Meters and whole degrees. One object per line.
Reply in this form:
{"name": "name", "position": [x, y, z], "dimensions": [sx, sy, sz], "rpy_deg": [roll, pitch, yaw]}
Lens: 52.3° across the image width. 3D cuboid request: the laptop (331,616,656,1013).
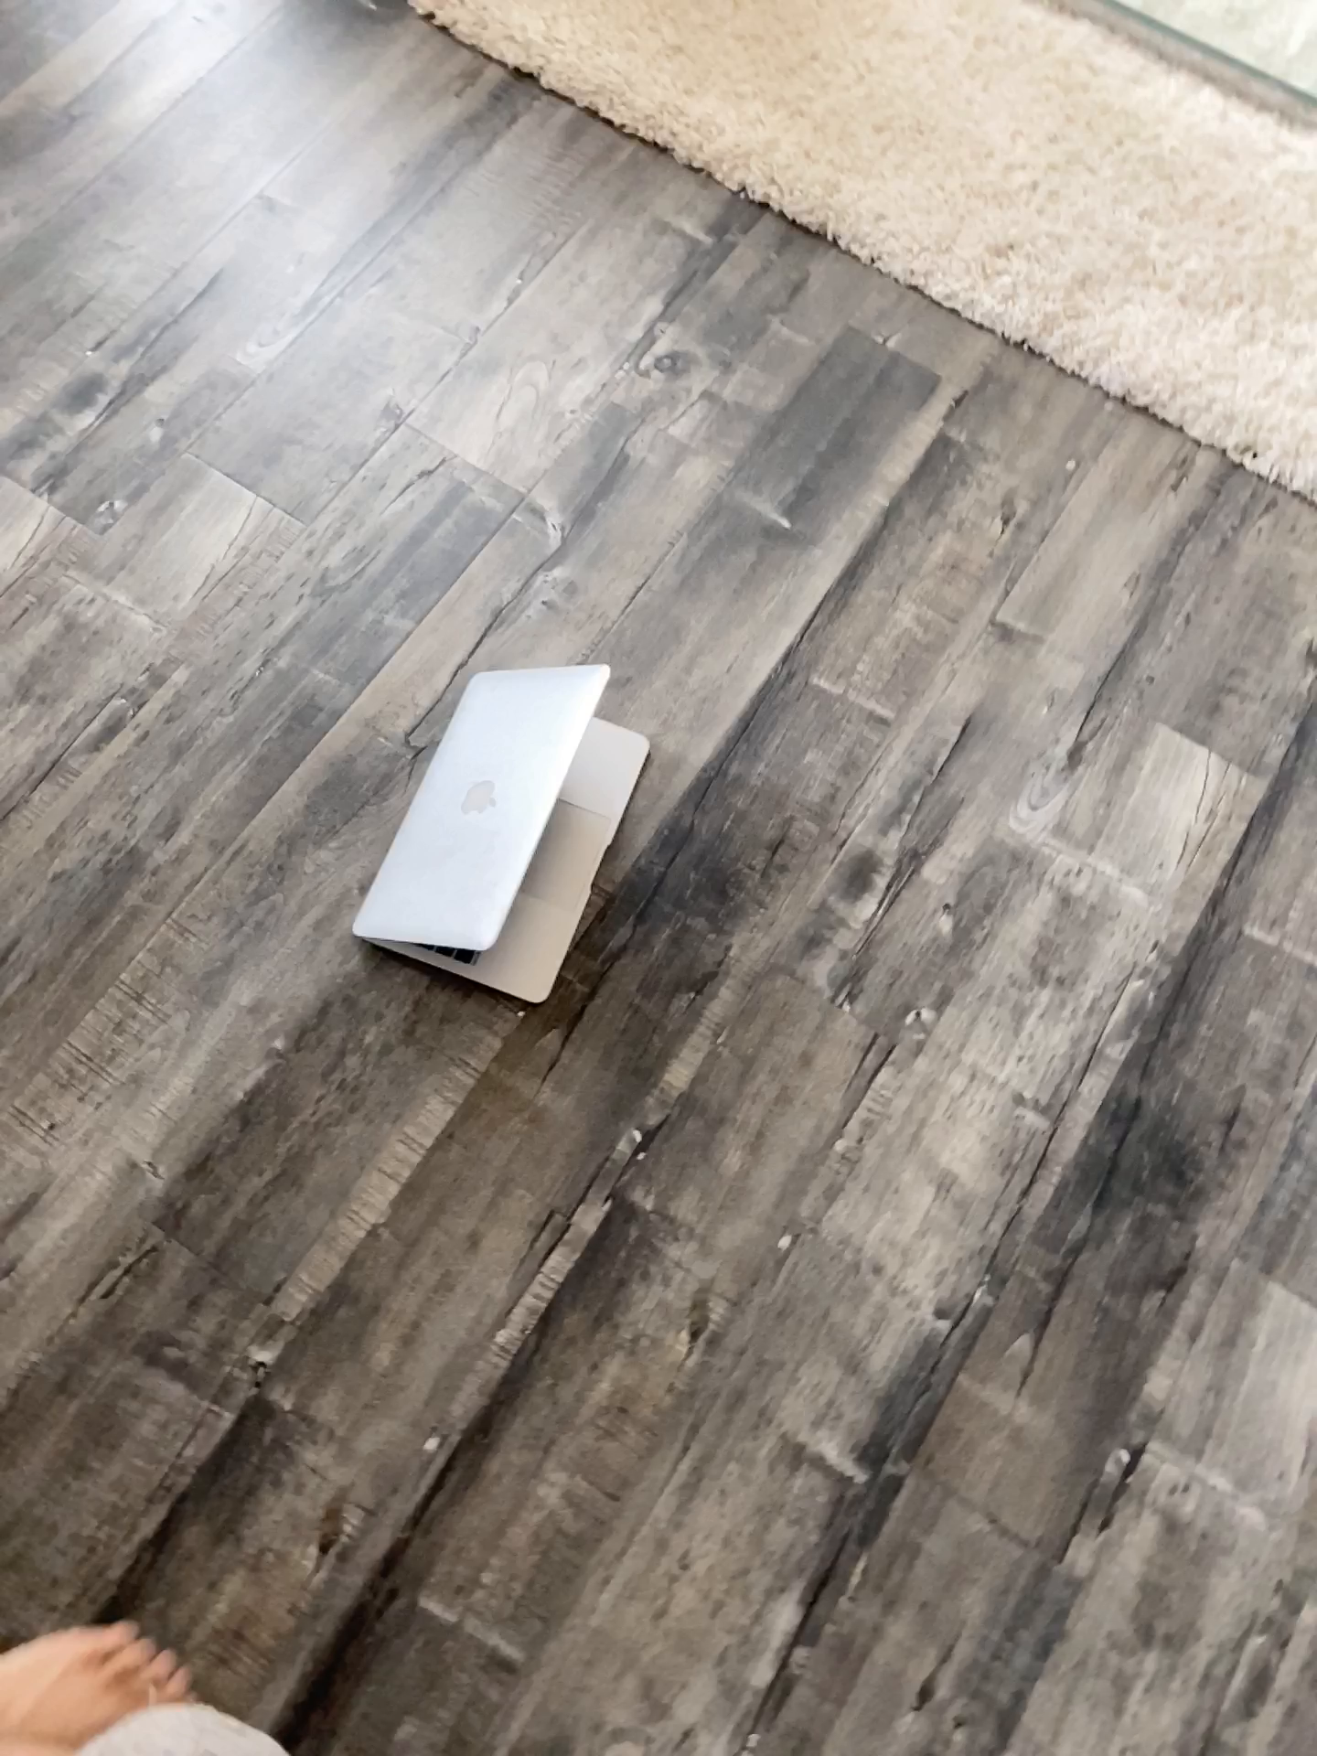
{"name": "laptop", "position": [-0.131, -0.055, 1.128], "dimensions": [0.172, 0.113, 0.270], "rpy_deg": [20, 68, 5]}
